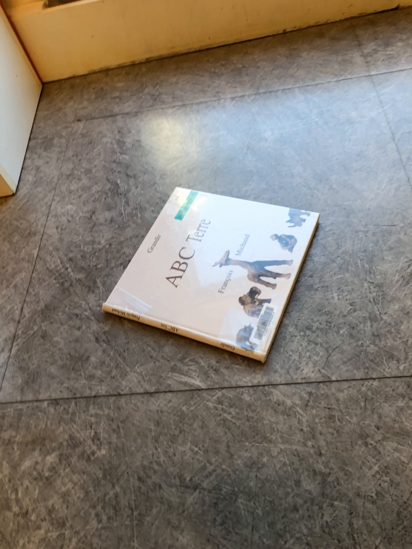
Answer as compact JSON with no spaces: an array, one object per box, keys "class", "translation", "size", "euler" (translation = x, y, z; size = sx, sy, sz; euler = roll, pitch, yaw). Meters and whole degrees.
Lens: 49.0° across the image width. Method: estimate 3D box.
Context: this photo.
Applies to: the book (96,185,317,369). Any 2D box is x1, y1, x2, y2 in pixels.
[{"class":"book","translation":[0.006,-0.012,0.525],"size":[0.194,0.020,0.201],"euler":[14,59,22]}]
